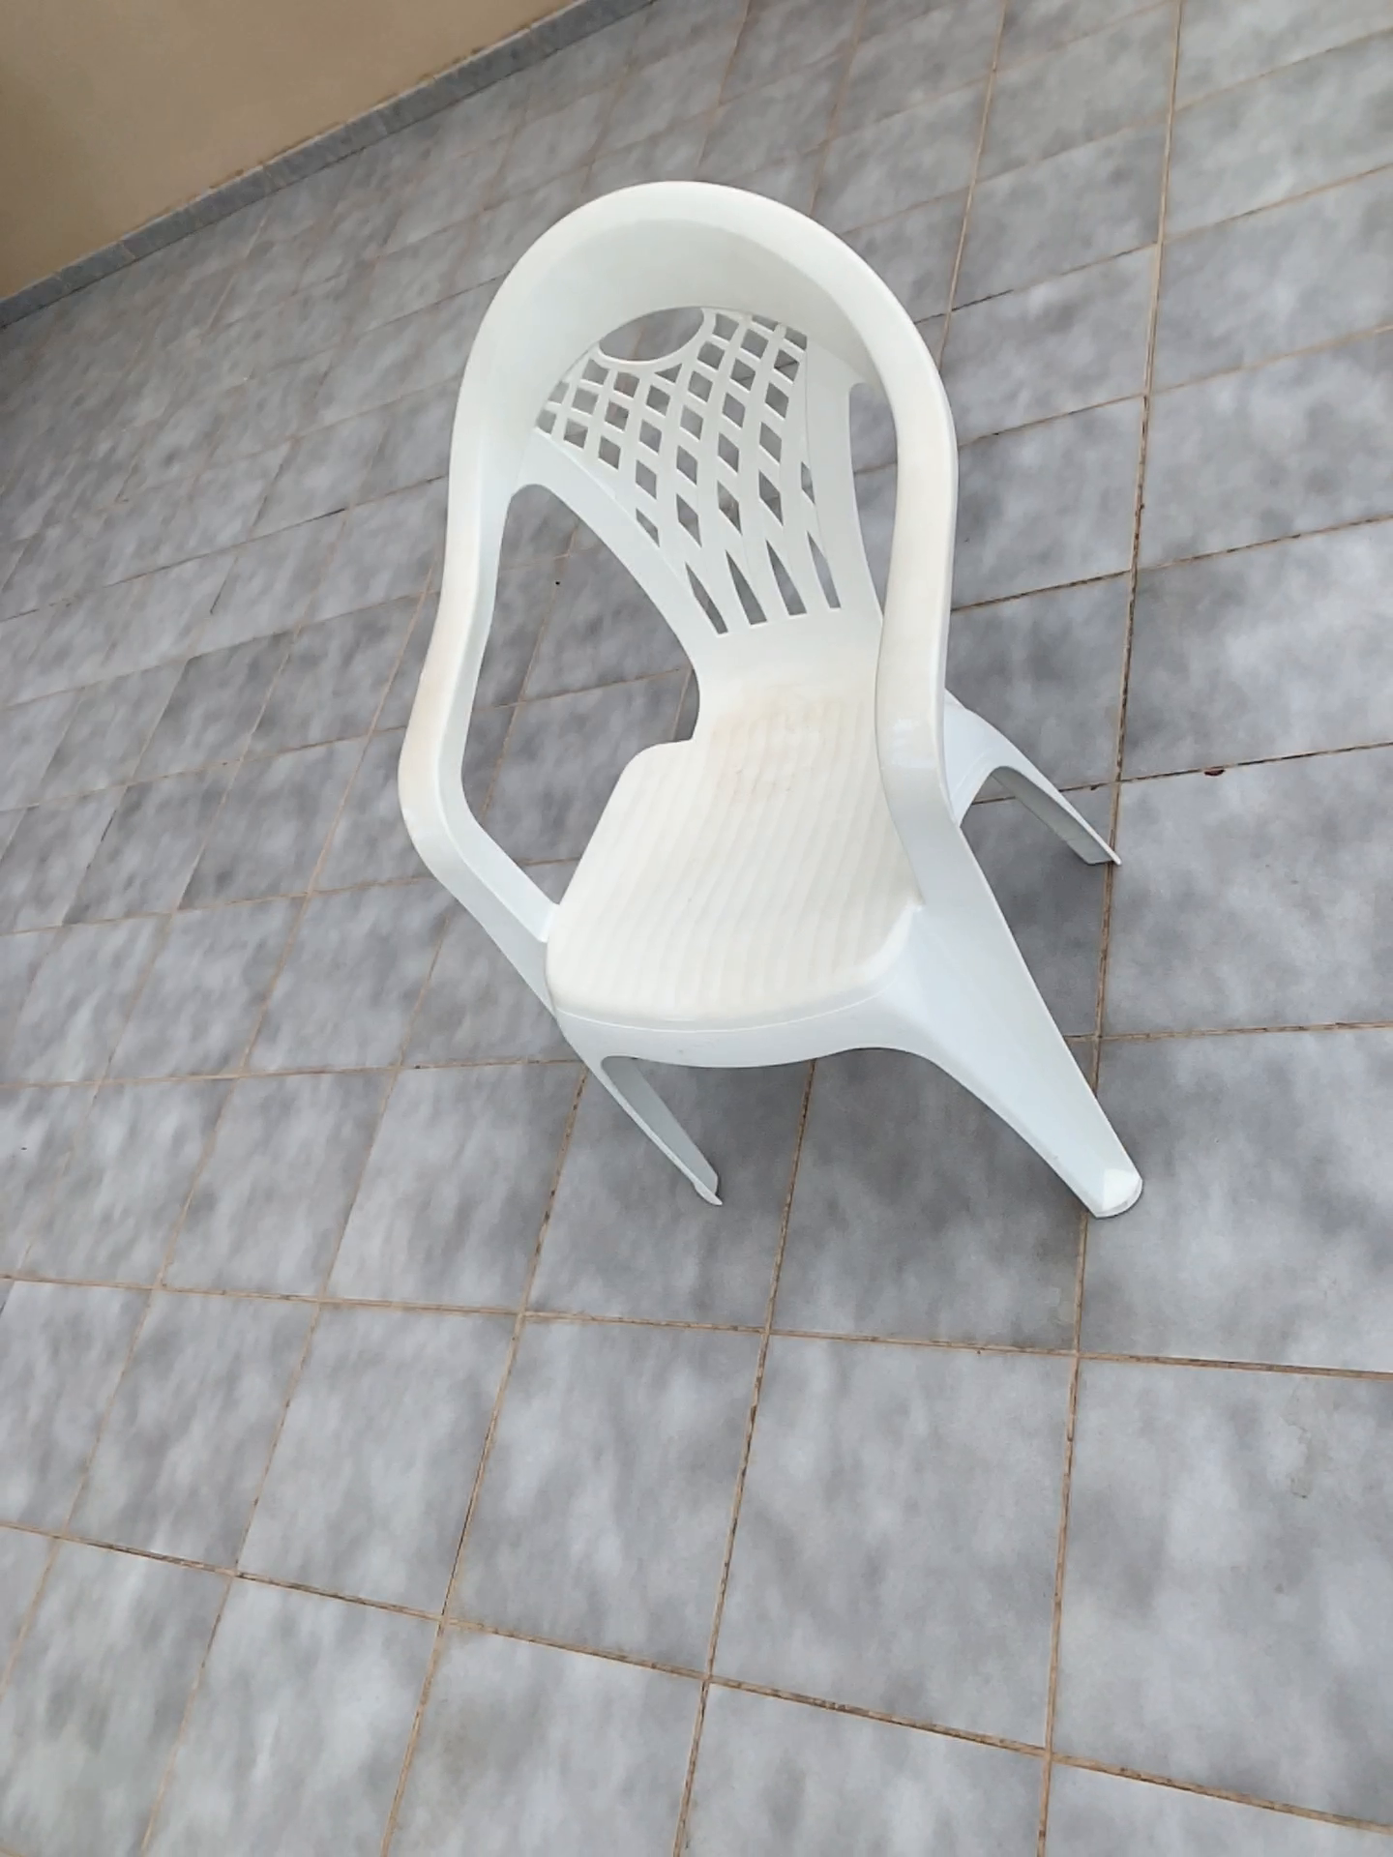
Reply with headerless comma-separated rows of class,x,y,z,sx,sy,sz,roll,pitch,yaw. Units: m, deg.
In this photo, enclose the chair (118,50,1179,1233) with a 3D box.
chair,0.065,-0.161,1.344,0.545,0.822,0.610,-5,57,31
